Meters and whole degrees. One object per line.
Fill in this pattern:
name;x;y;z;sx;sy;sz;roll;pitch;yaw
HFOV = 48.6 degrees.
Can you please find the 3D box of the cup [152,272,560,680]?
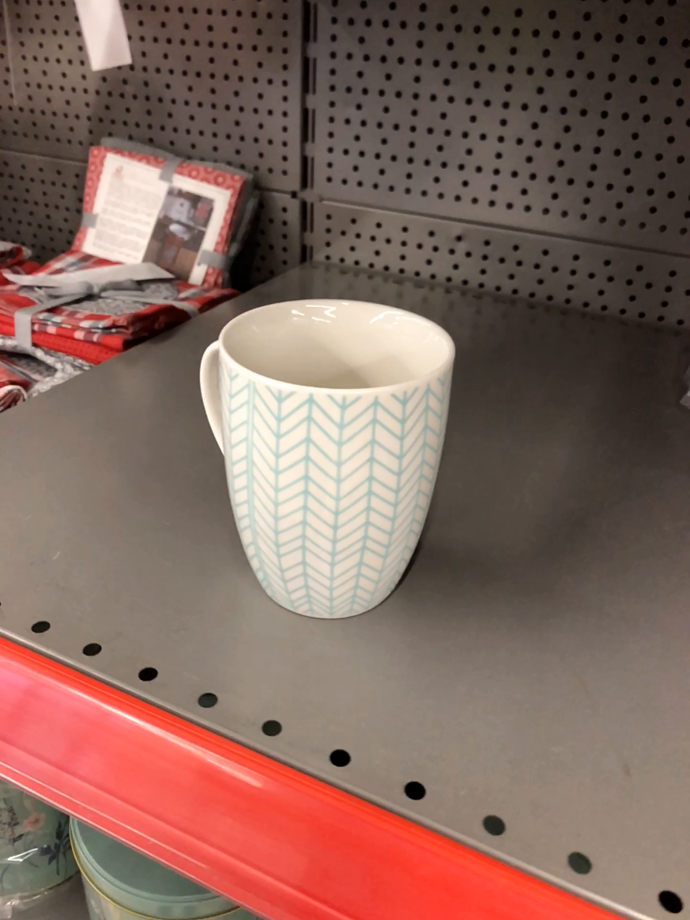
cup;0.001;-0.004;0.306;0.119;0.096;0.093;29;40;35
